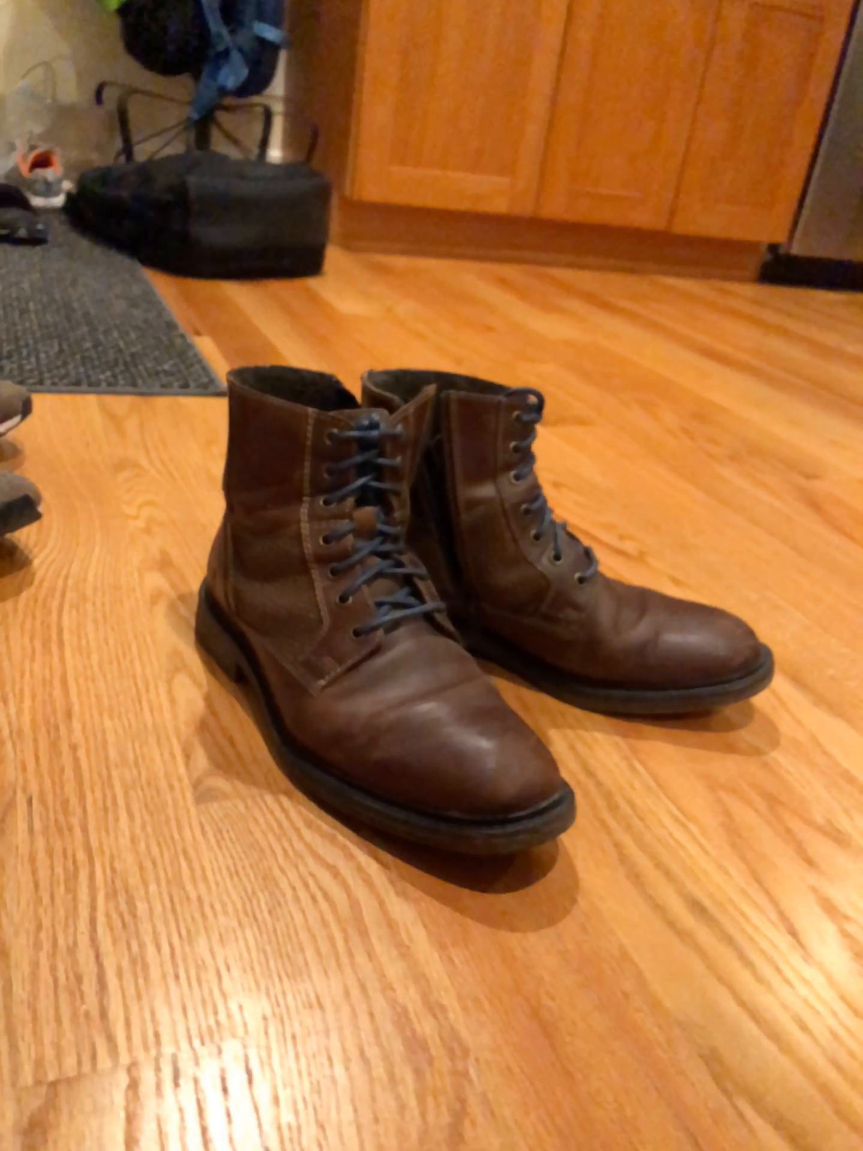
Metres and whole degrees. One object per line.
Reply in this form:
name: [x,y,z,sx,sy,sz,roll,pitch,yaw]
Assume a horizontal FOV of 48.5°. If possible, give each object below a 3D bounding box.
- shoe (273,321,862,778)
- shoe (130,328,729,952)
shoe: [0.077,-0.026,0.573,0.303,0.176,0.129,13,26,9]
shoe: [-0.033,0.000,0.484,0.113,0.168,0.310,-14,34,-38]
